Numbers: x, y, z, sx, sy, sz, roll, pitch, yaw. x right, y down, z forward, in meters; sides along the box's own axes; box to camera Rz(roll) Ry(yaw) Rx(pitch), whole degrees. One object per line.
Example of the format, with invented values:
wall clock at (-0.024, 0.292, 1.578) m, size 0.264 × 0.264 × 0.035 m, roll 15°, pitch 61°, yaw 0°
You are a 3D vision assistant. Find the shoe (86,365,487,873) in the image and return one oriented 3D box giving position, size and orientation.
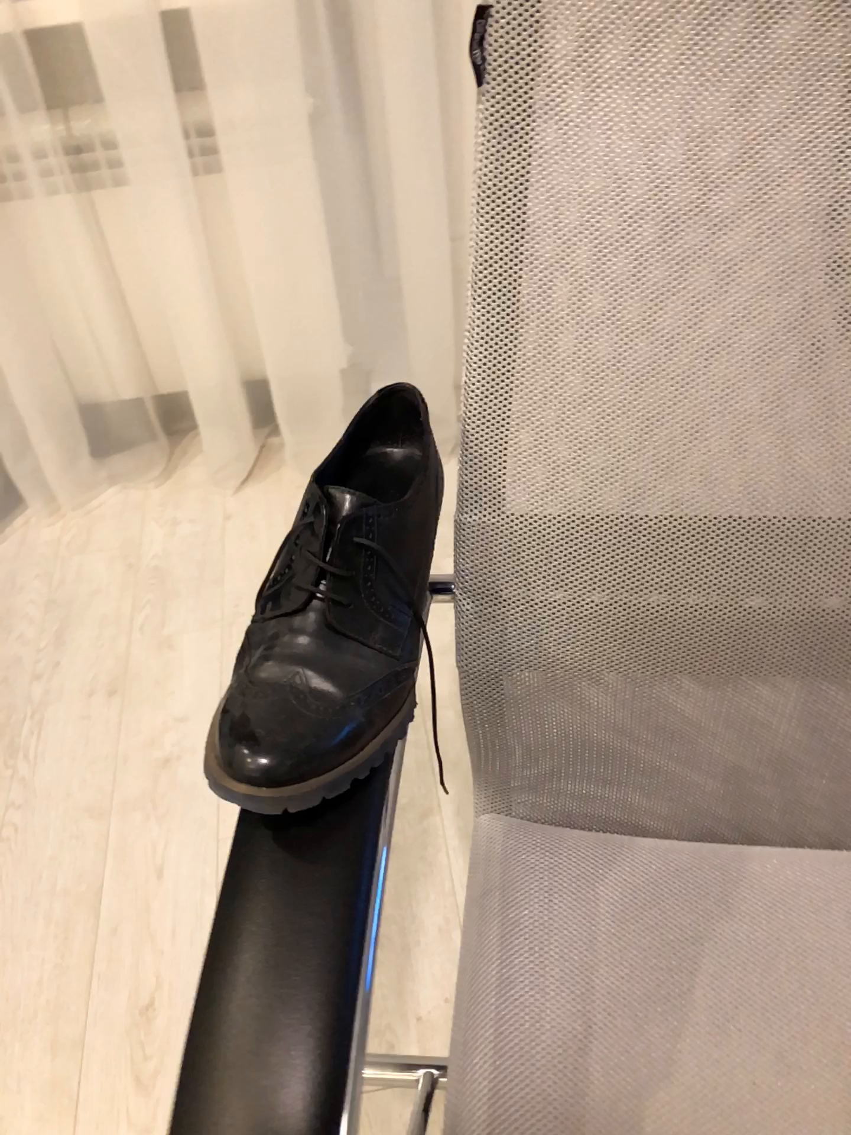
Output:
shoe at (-0.046, 0.006, 0.481) m, size 0.100 × 0.119 × 0.252 m, roll 7°, pitch 37°, yaw 15°
